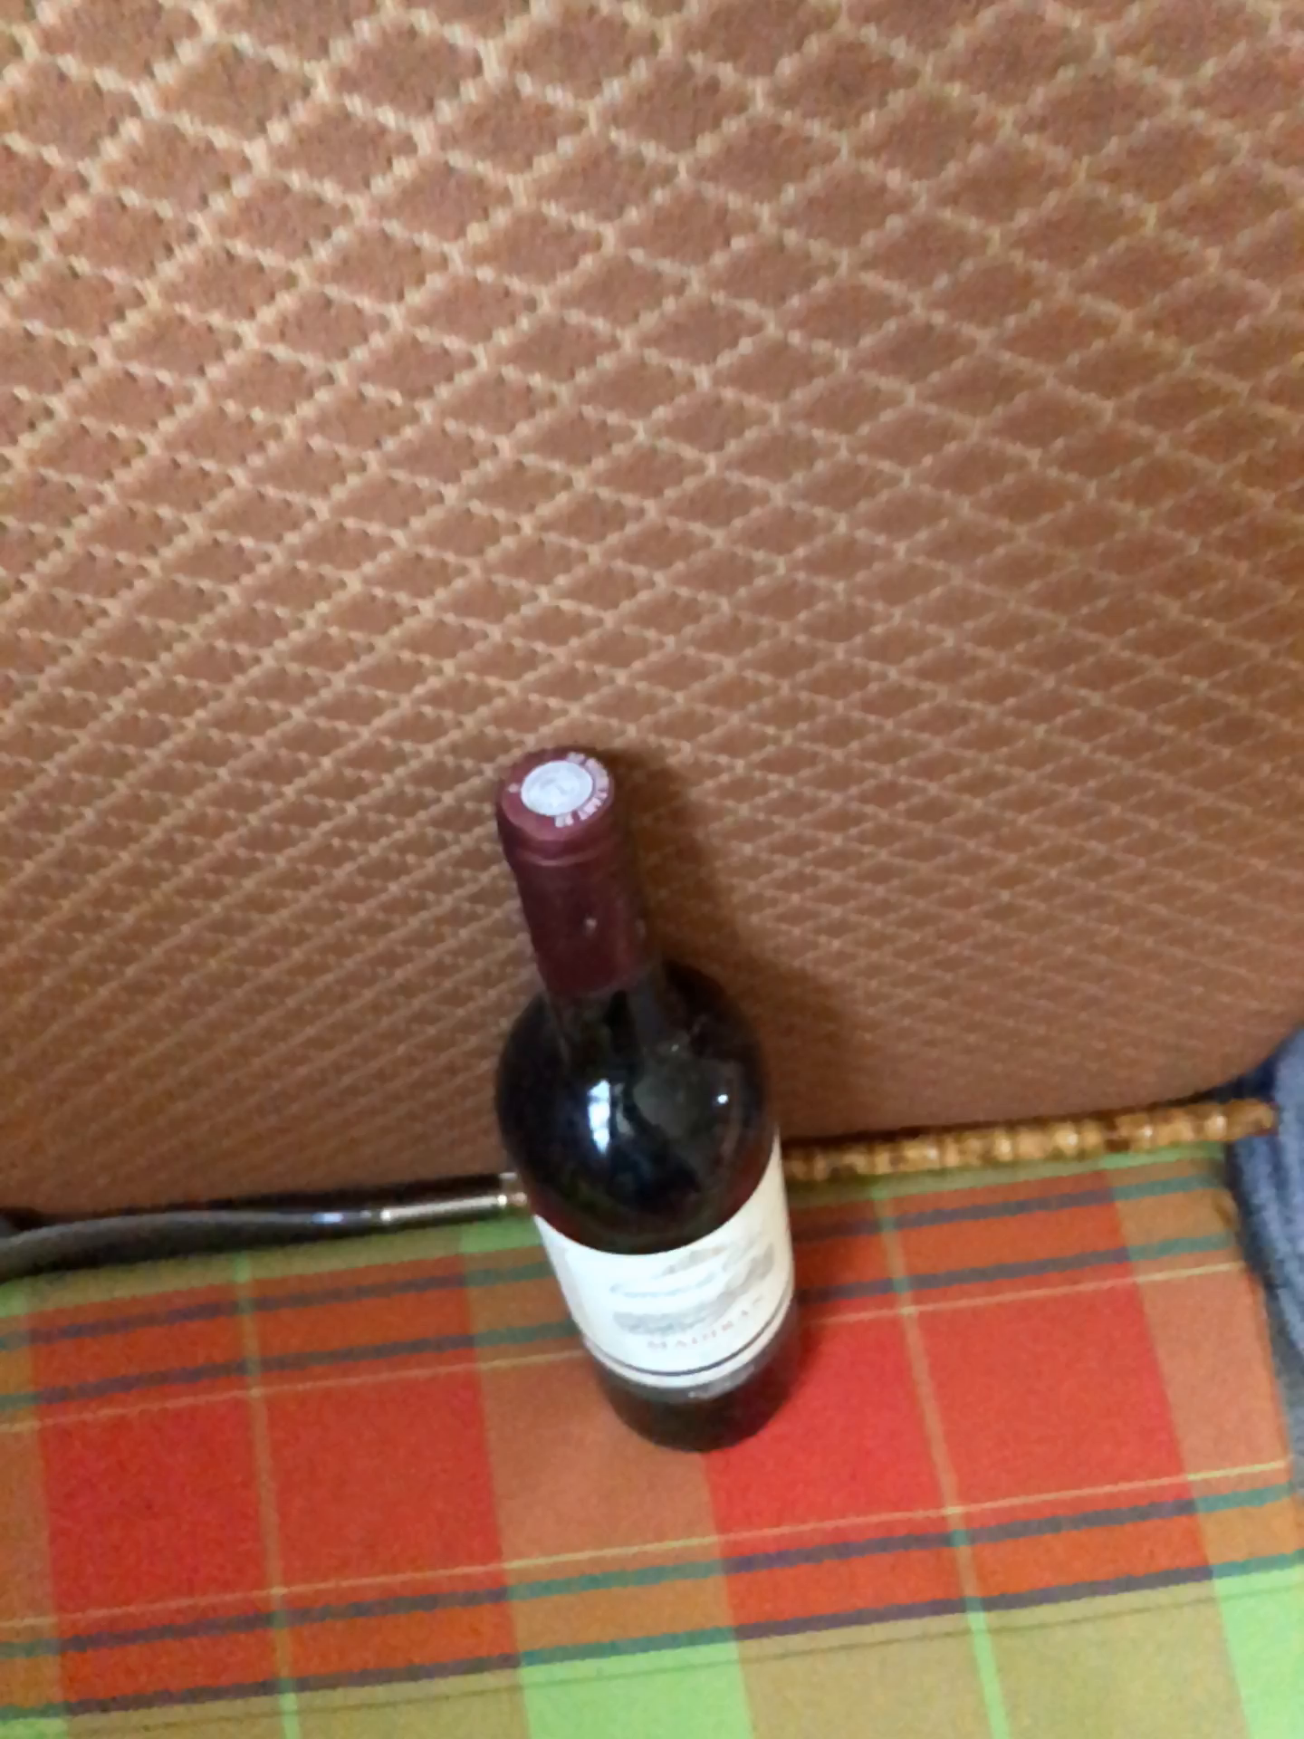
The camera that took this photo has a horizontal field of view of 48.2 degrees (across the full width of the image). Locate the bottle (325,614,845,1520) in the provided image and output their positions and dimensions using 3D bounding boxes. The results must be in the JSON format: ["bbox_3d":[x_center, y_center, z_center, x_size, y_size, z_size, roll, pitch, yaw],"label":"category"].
[{"bbox_3d":[-0.002,0.081,0.406,0.080,0.300,0.090,-16,51,-5],"label":"bottle"}]
